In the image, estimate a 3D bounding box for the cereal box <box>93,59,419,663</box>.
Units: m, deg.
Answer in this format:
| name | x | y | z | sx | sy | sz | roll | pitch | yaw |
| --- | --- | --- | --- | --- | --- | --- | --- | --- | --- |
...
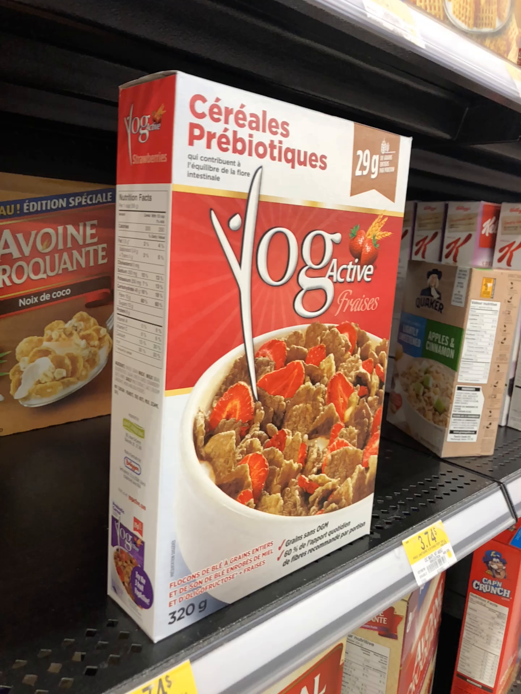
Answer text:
| name | x | y | z | sx | sy | sz | roll | pitch | yaw |
| --- | --- | --- | --- | --- | --- | --- | --- | --- | --- |
| cereal box | 0.005 | 0.007 | 0.356 | 0.200 | 0.289 | 0.050 | -6 | 15 | -44 |
